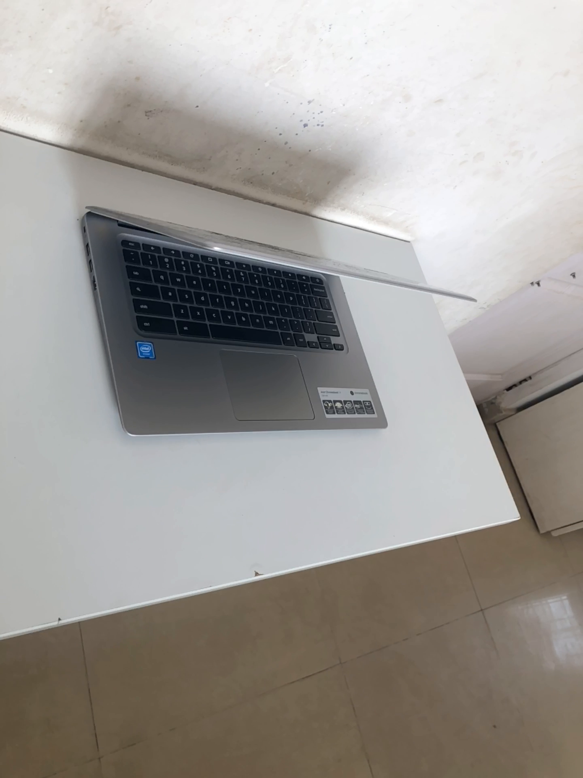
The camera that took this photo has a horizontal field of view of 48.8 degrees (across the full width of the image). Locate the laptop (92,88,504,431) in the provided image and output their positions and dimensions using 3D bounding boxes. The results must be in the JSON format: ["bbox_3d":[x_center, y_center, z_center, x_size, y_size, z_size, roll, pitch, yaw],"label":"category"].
[{"bbox_3d":[0.012,-0.096,0.619,0.327,0.155,0.222,2,63,-41],"label":"laptop"}]
